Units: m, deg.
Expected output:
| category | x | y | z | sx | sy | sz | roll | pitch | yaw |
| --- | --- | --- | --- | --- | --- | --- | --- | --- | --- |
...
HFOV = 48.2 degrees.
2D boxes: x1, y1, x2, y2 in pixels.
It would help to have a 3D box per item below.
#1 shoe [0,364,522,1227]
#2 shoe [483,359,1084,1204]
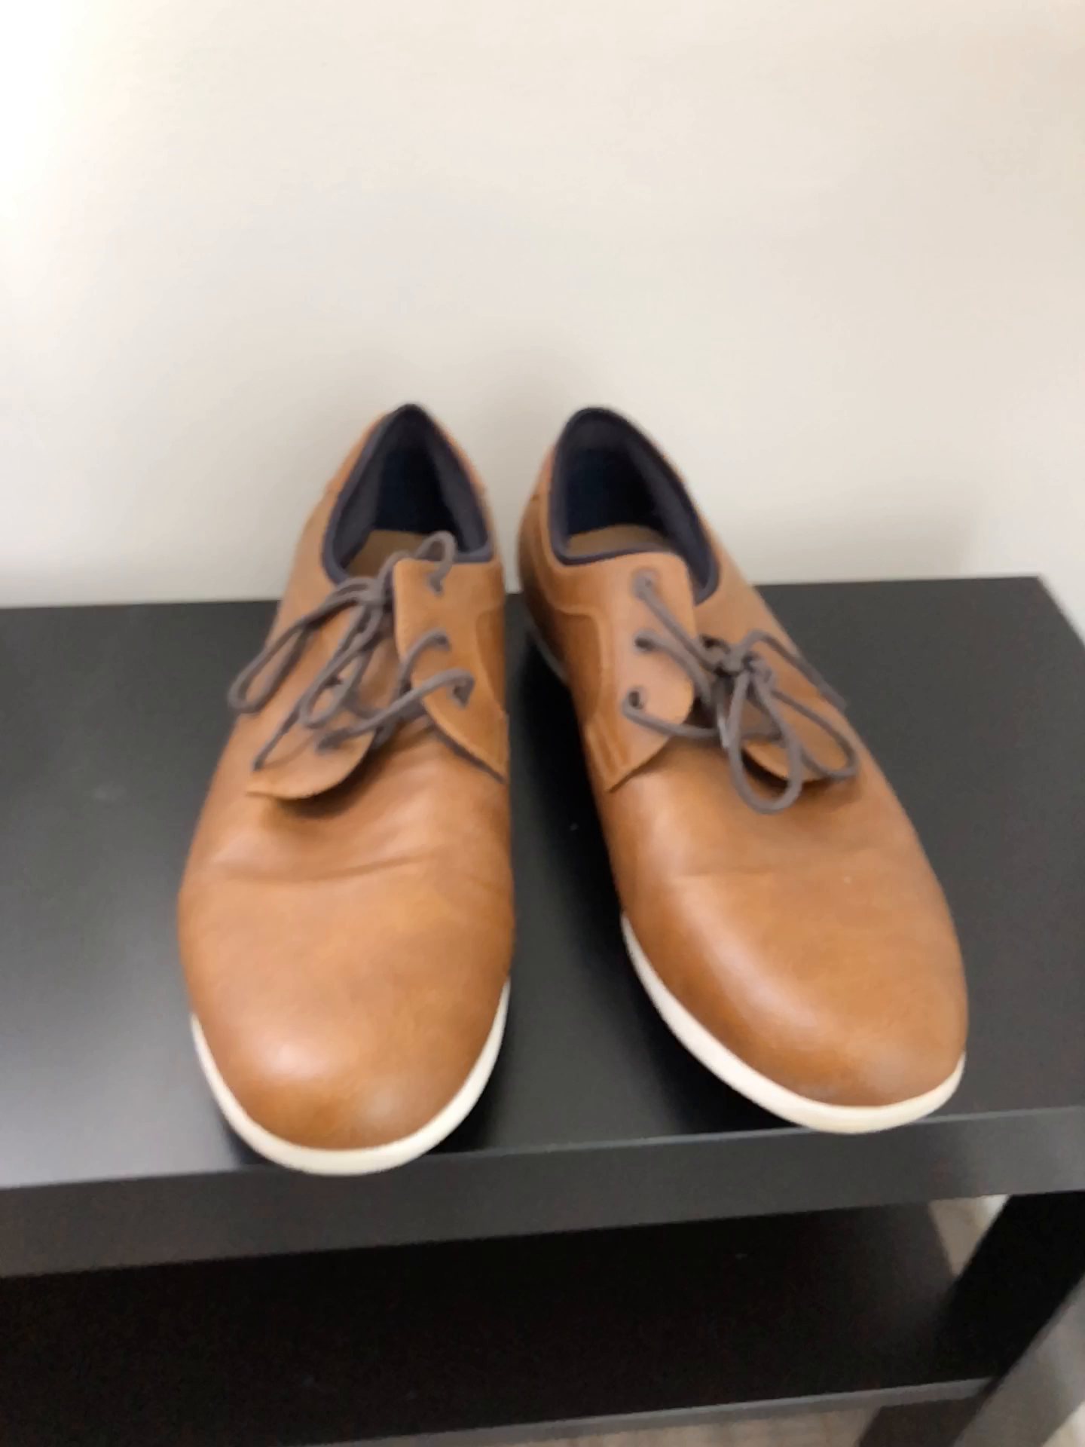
| category | x | y | z | sx | sy | sz | roll | pitch | yaw |
| --- | --- | --- | --- | --- | --- | --- | --- | --- | --- |
| shoe | -0.061 | -0.002 | 0.373 | 0.104 | 0.100 | 0.271 | 2 | 42 | -1 |
| shoe | 0.056 | -0.008 | 0.398 | 0.104 | 0.100 | 0.281 | -7 | 42 | -10 |
